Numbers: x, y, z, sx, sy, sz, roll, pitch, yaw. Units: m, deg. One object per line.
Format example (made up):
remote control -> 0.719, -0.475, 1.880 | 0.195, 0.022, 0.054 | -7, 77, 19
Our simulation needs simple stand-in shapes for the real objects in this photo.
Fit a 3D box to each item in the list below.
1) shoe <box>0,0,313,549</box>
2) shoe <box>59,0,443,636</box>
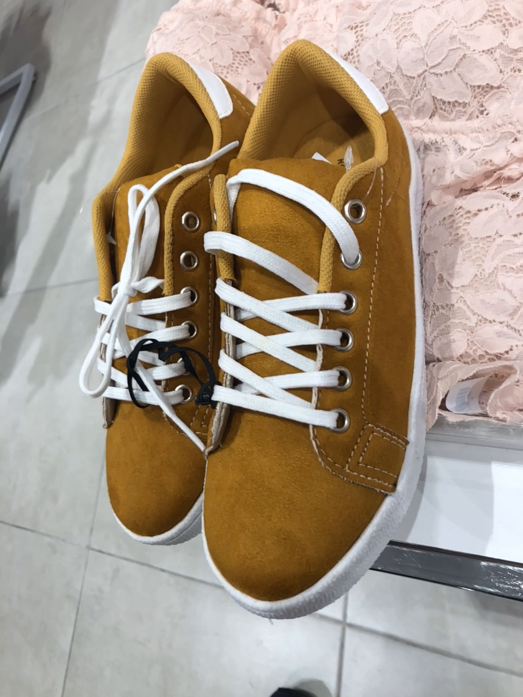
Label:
shoe -> -0.046, -0.032, 0.295 | 0.090, 0.100, 0.240 | 2, 73, 23
shoe -> 0.017, -0.019, 0.253 | 0.100, 0.100, 0.240 | 0, 68, 23
